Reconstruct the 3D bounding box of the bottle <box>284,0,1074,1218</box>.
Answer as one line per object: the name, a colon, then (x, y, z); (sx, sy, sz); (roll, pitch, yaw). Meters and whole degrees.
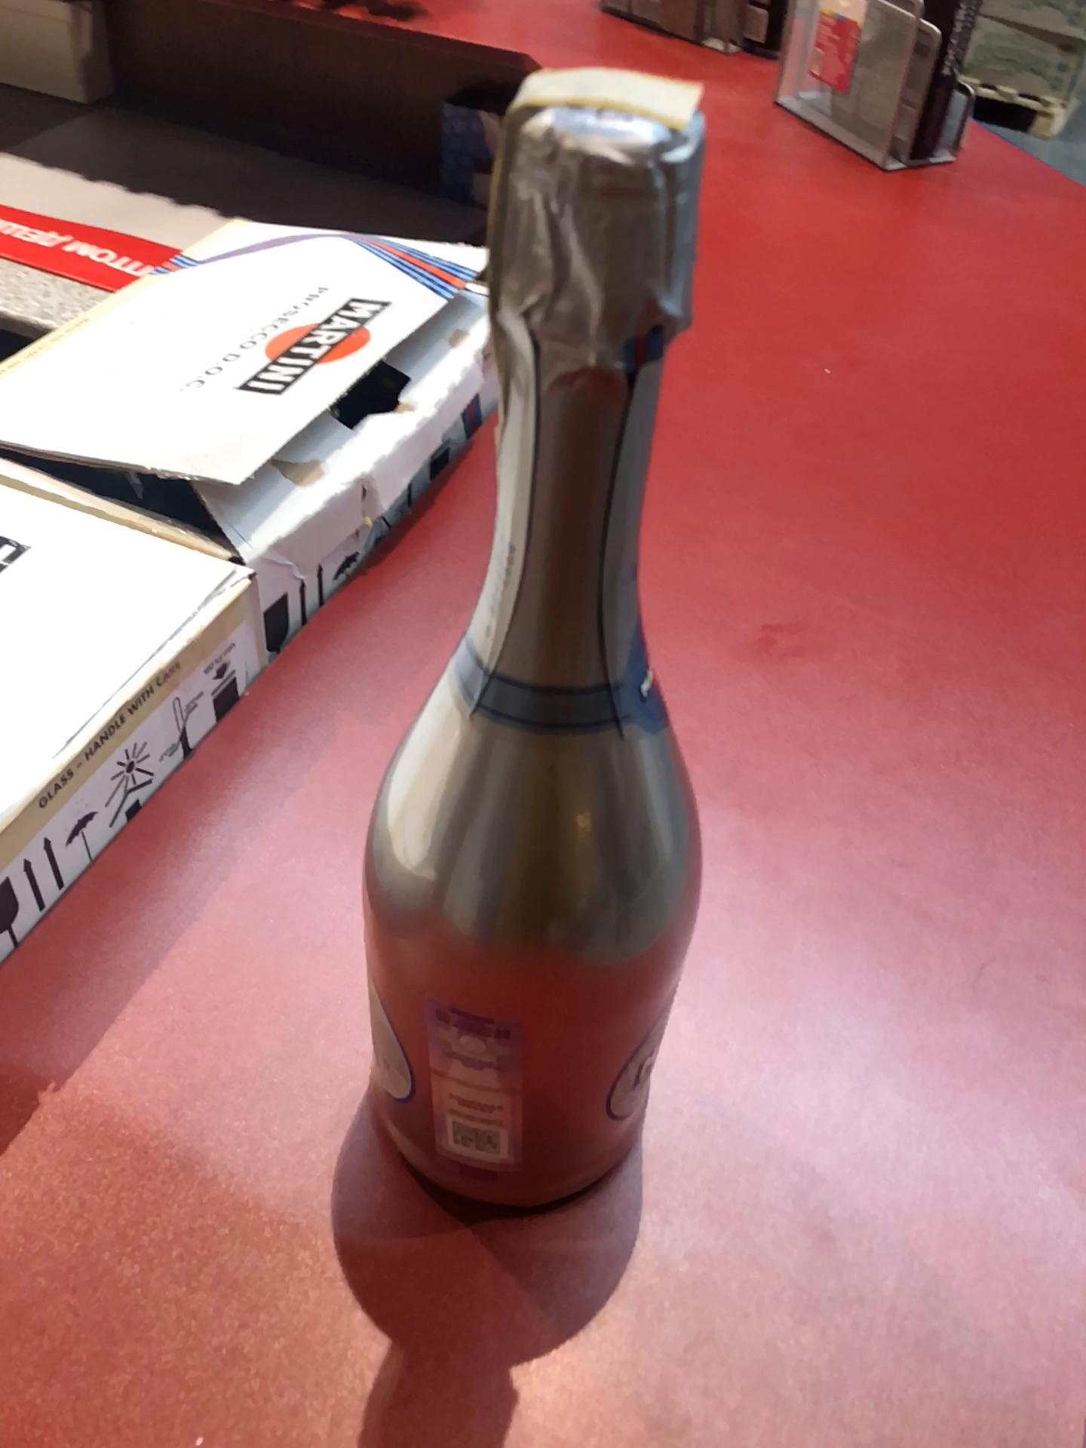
bottle: (0.006, 0.004, 0.290); (0.100, 0.298, 0.101); (4, 45, -4)
